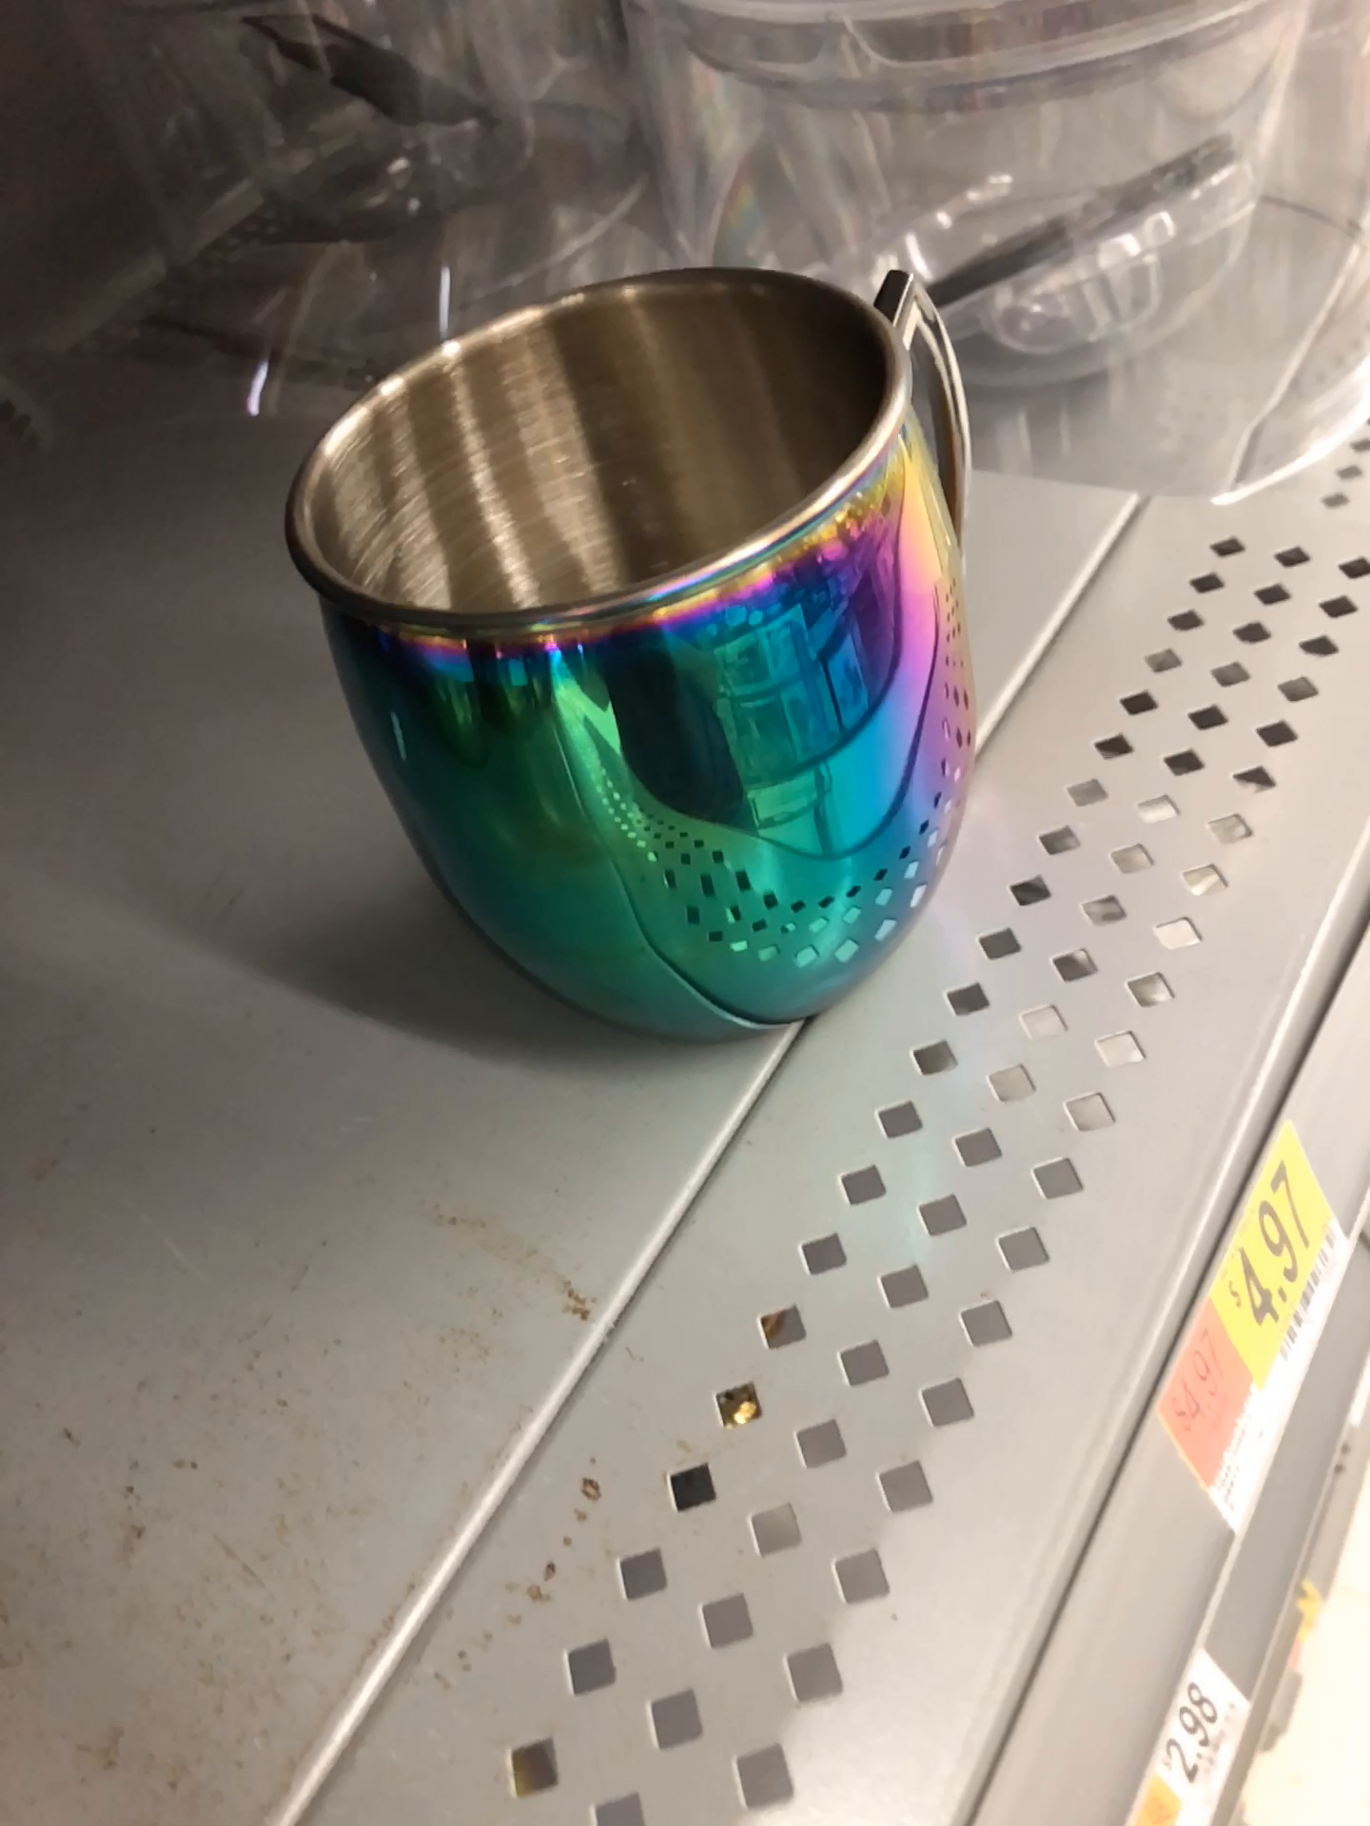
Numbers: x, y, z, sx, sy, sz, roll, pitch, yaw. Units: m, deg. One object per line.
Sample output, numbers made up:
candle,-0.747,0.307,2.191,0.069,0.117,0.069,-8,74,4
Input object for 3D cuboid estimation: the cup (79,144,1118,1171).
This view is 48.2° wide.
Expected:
cup,-0.001,-0.052,0.266,0.104,0.097,0.133,19,55,29
